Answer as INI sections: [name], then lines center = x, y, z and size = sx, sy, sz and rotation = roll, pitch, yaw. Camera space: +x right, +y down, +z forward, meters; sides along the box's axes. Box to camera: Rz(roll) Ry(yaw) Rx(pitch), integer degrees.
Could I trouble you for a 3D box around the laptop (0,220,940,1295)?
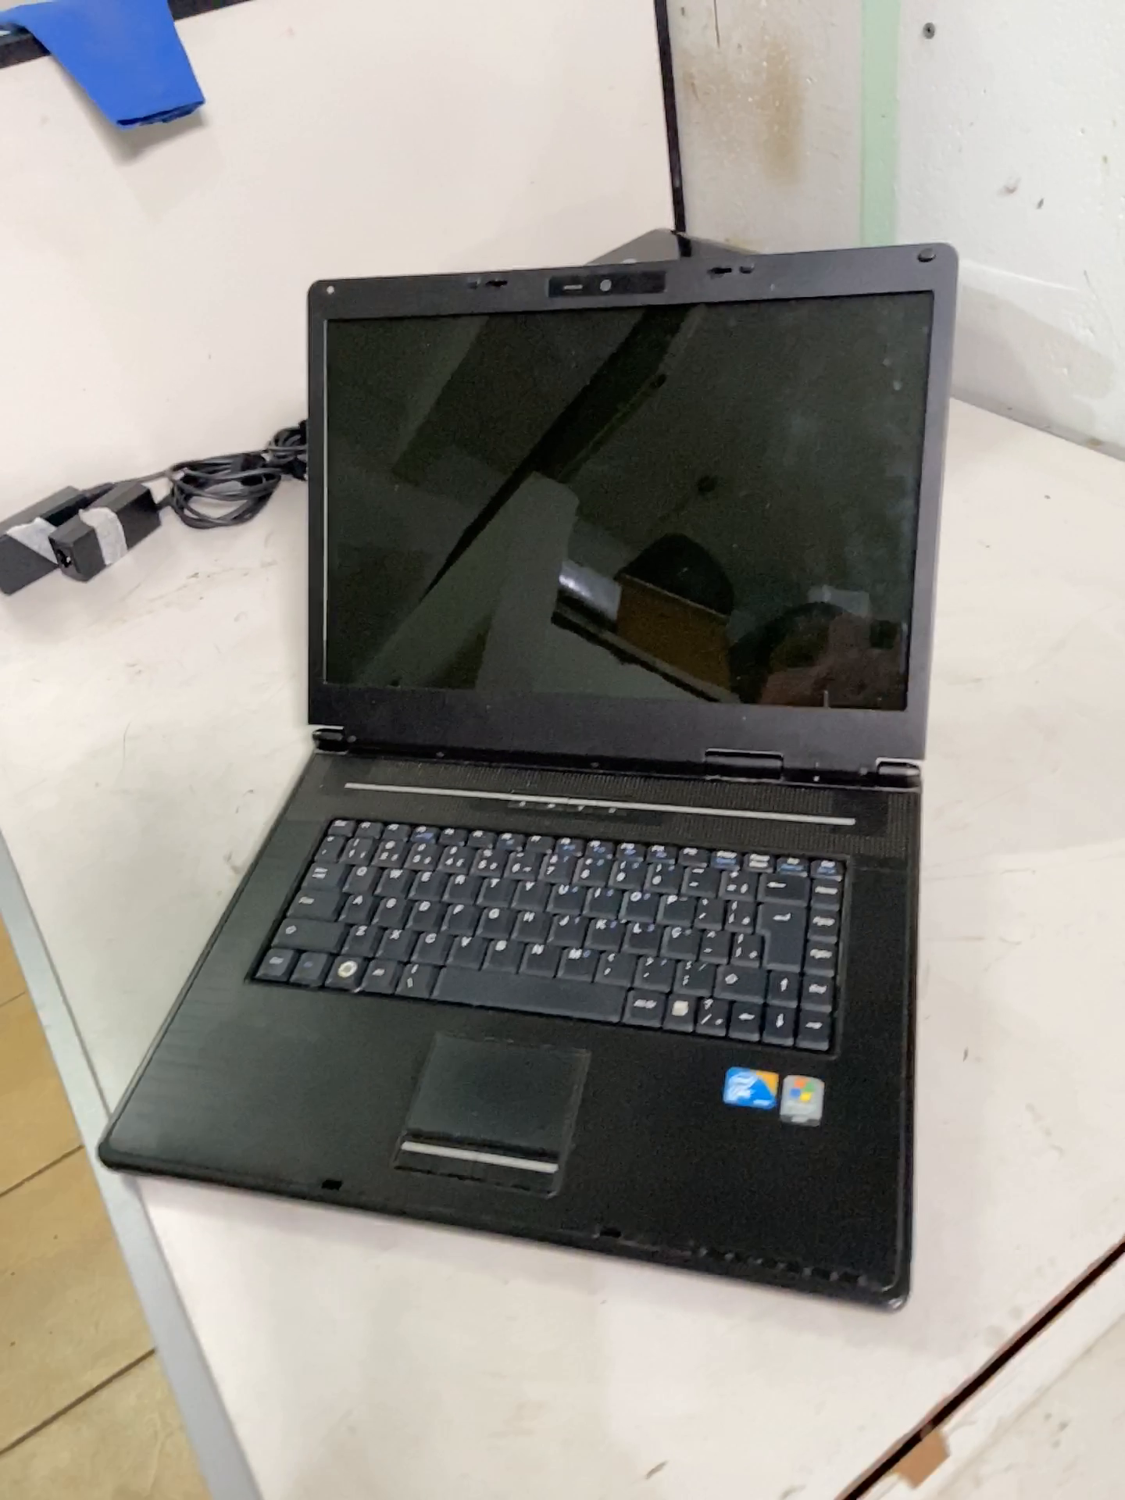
[laptop]
center = -0.012, -0.040, 0.555
size = 0.351, 0.224, 0.432
rotation = 3, 46, 17
